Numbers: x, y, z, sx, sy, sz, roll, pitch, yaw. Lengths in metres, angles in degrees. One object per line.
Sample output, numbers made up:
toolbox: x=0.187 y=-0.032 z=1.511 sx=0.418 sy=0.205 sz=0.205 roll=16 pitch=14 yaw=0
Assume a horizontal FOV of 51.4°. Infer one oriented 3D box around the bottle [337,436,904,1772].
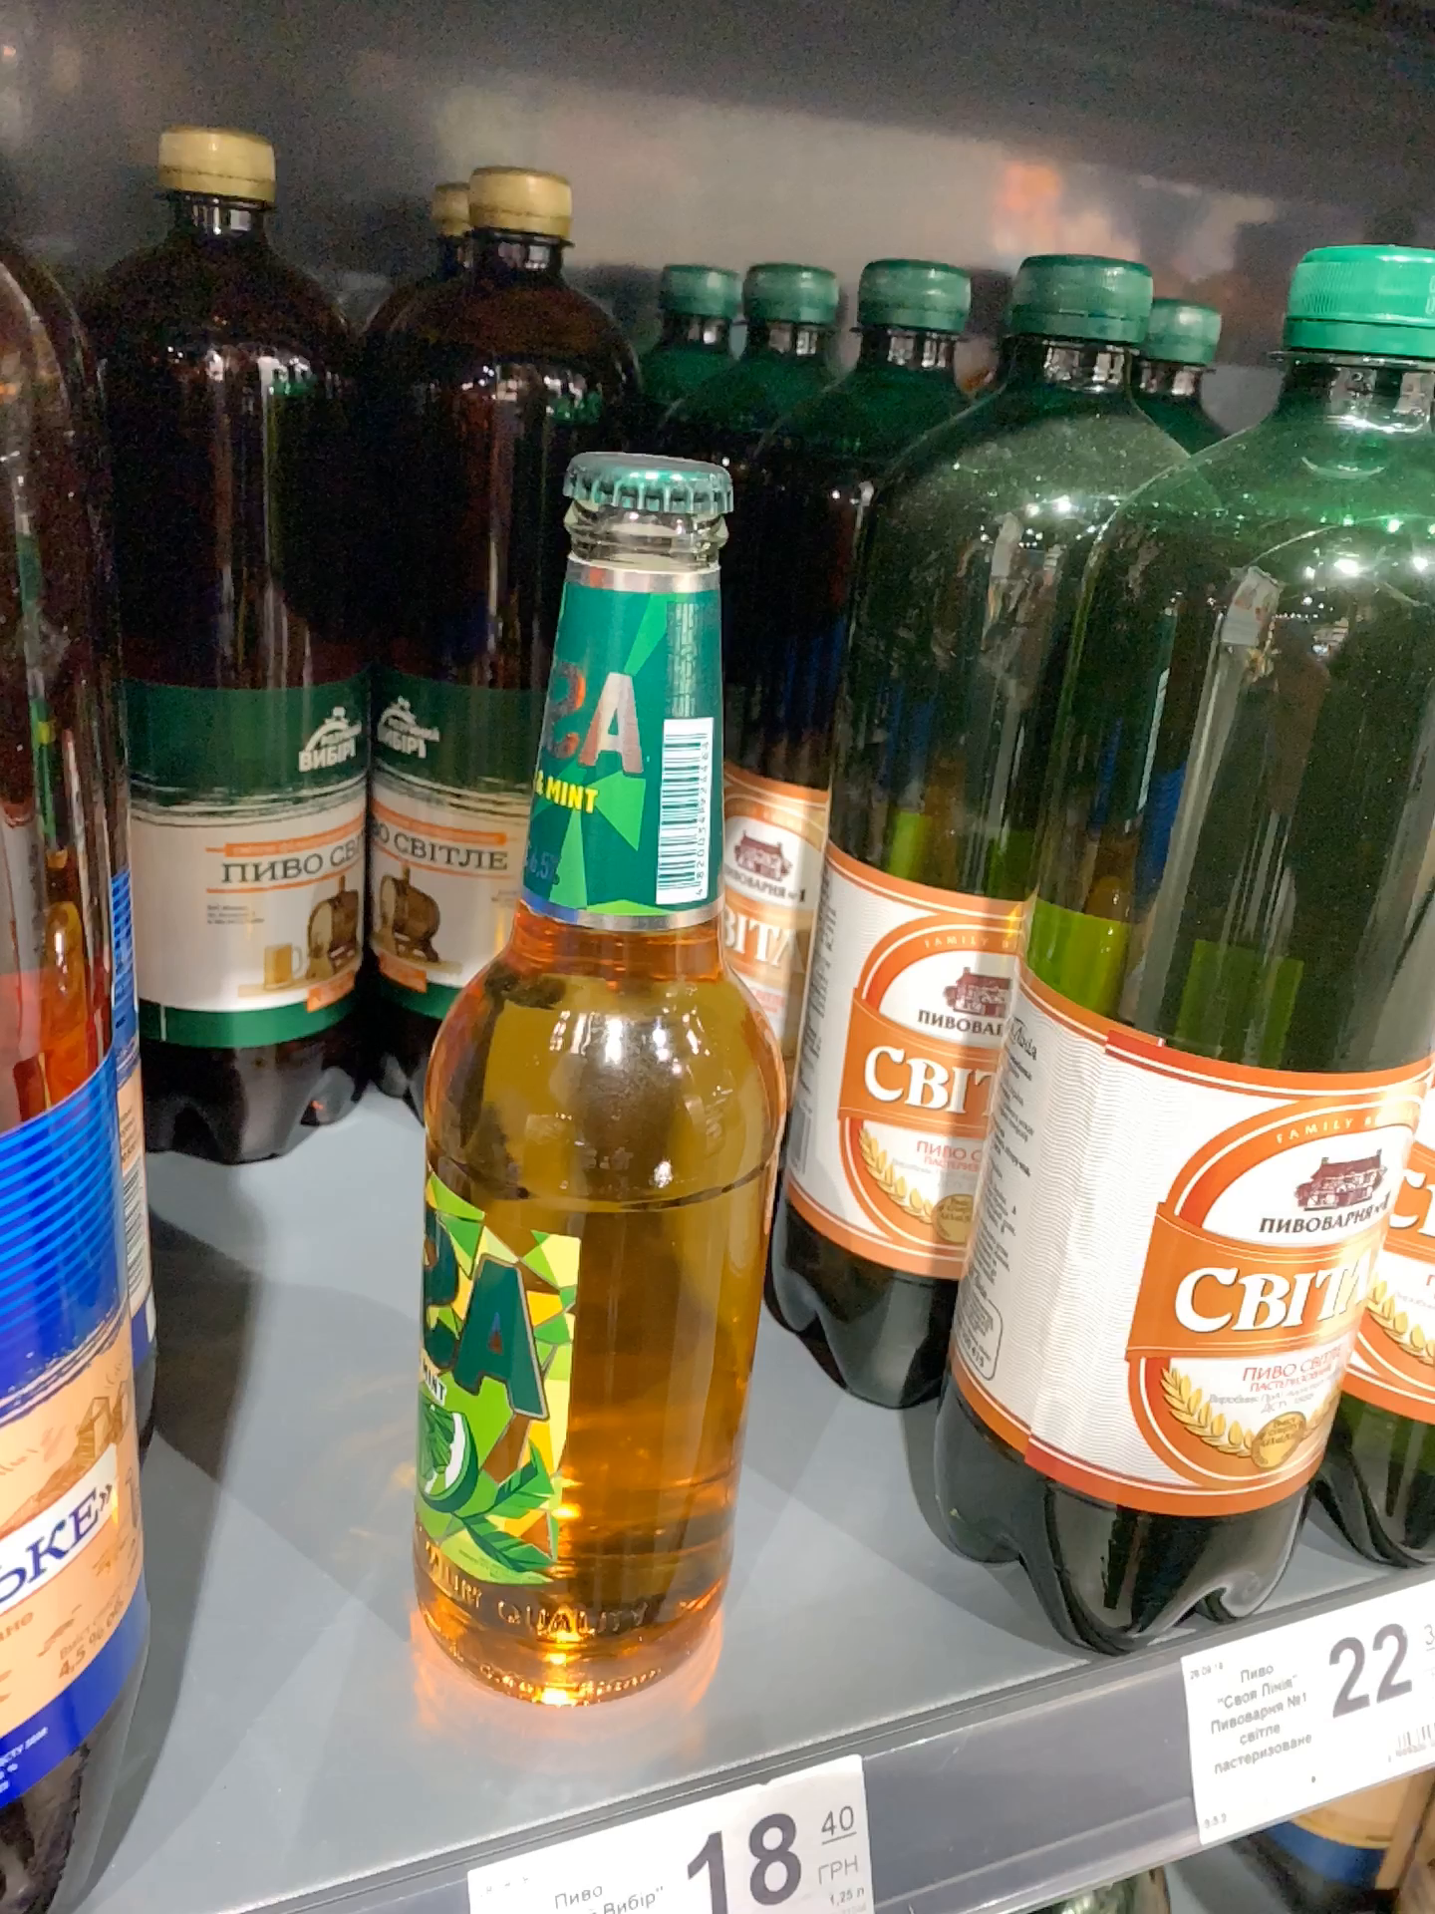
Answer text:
bottle: x=-0.028 y=0.029 z=0.290 sx=0.066 sy=0.239 sz=0.072 roll=5 pitch=22 yaw=-2
